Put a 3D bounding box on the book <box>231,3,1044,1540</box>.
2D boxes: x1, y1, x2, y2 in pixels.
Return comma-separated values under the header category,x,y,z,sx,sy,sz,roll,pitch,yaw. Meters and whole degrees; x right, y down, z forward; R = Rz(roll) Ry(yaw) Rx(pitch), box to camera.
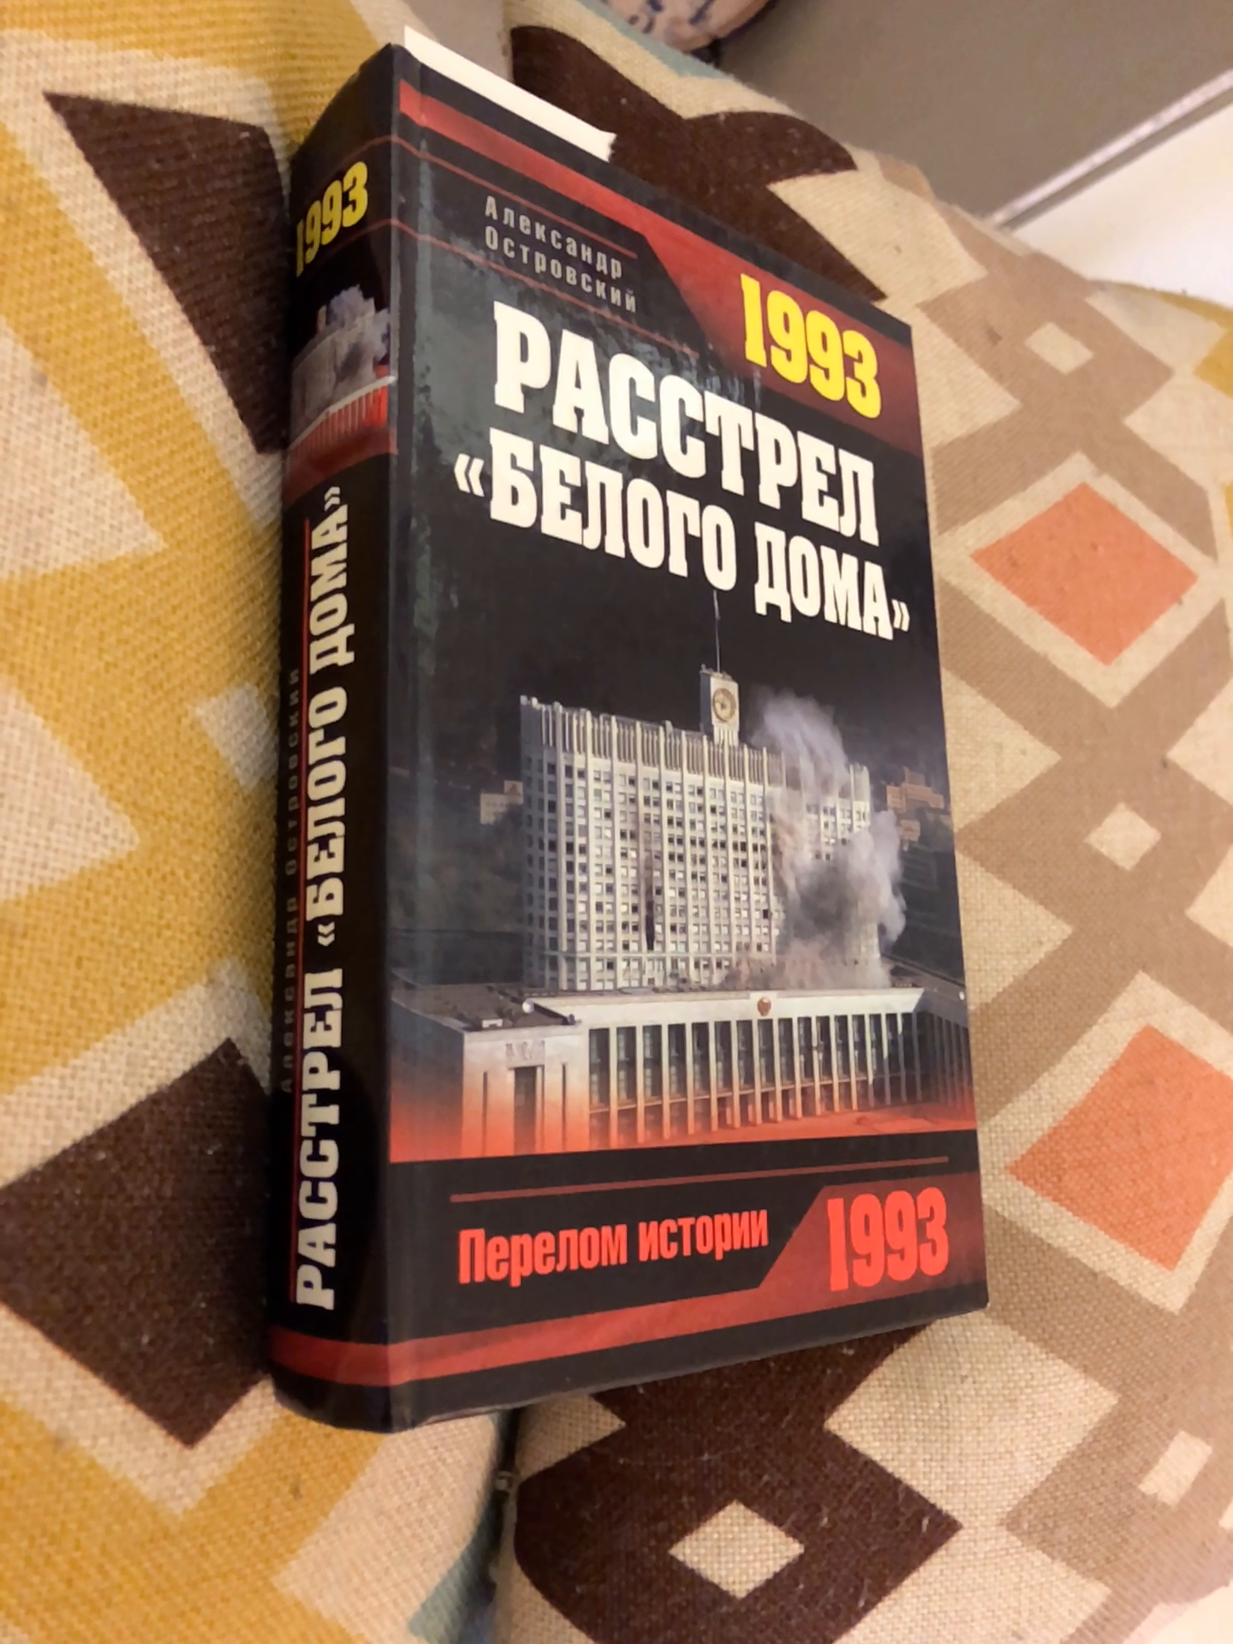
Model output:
category,x,y,z,sx,sy,sz,roll,pitch,yaw
book,0.011,-0.008,0.236,0.141,0.030,0.210,9,75,-38
